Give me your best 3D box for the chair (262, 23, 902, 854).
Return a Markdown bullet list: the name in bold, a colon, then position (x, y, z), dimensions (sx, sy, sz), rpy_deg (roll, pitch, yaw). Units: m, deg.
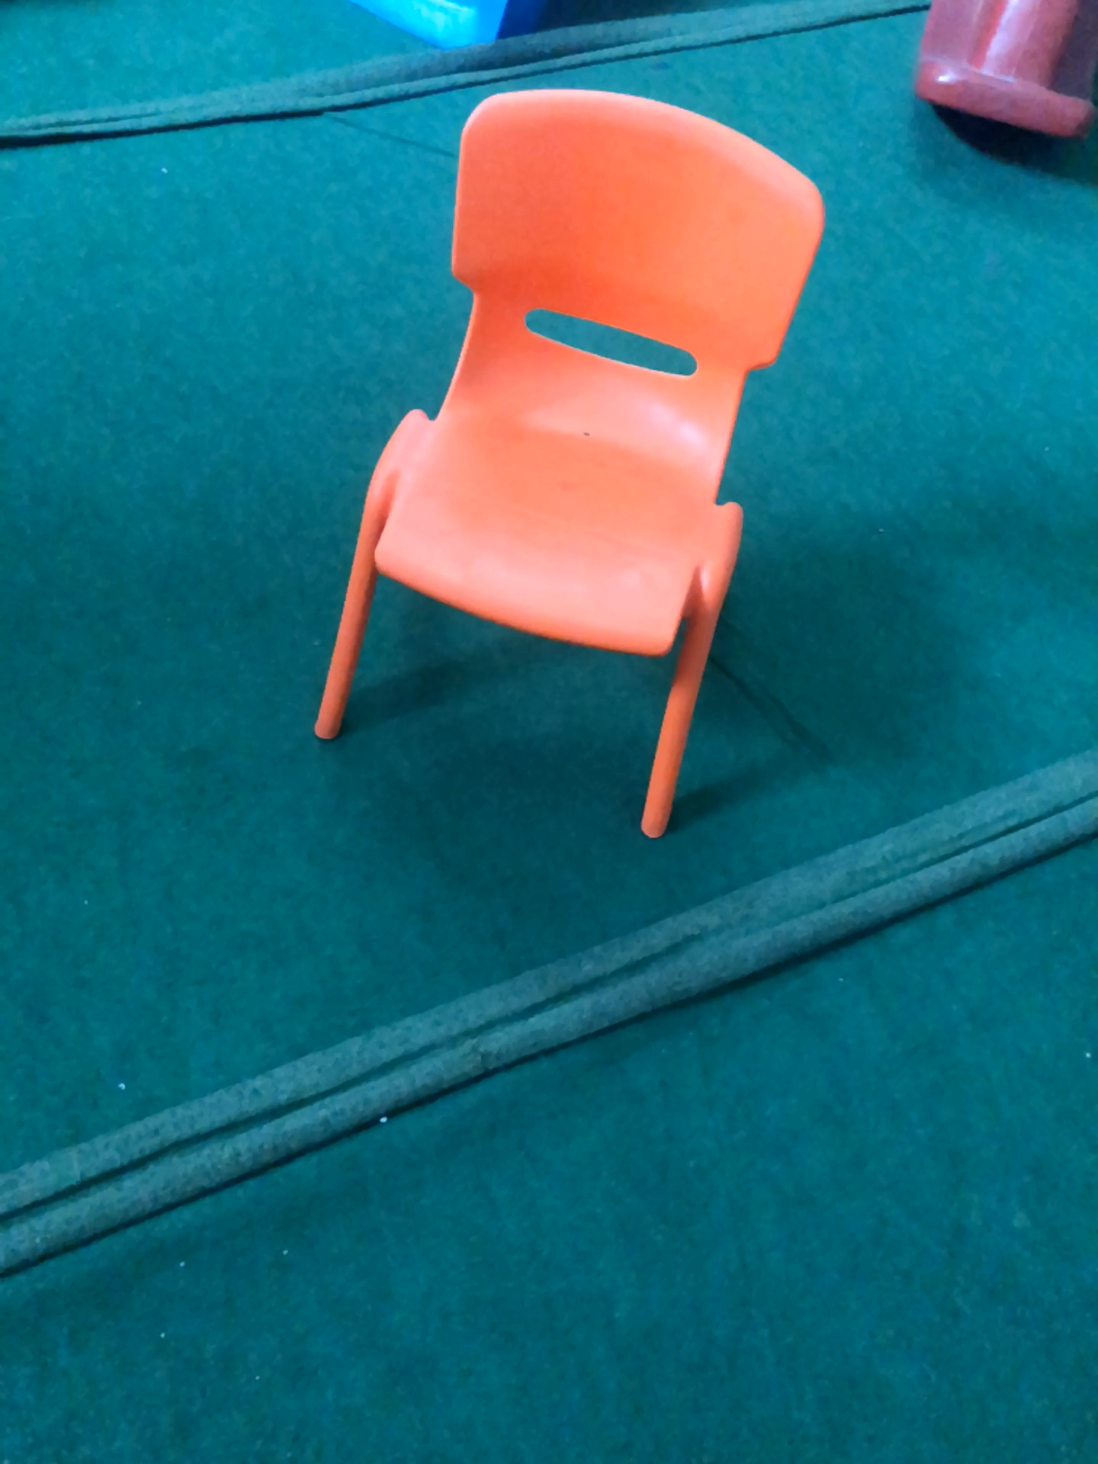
- **chair**: position (0.018, -0.221, 1.036), dimensions (0.360, 0.479, 0.391), rpy_deg (17, 57, 2)
